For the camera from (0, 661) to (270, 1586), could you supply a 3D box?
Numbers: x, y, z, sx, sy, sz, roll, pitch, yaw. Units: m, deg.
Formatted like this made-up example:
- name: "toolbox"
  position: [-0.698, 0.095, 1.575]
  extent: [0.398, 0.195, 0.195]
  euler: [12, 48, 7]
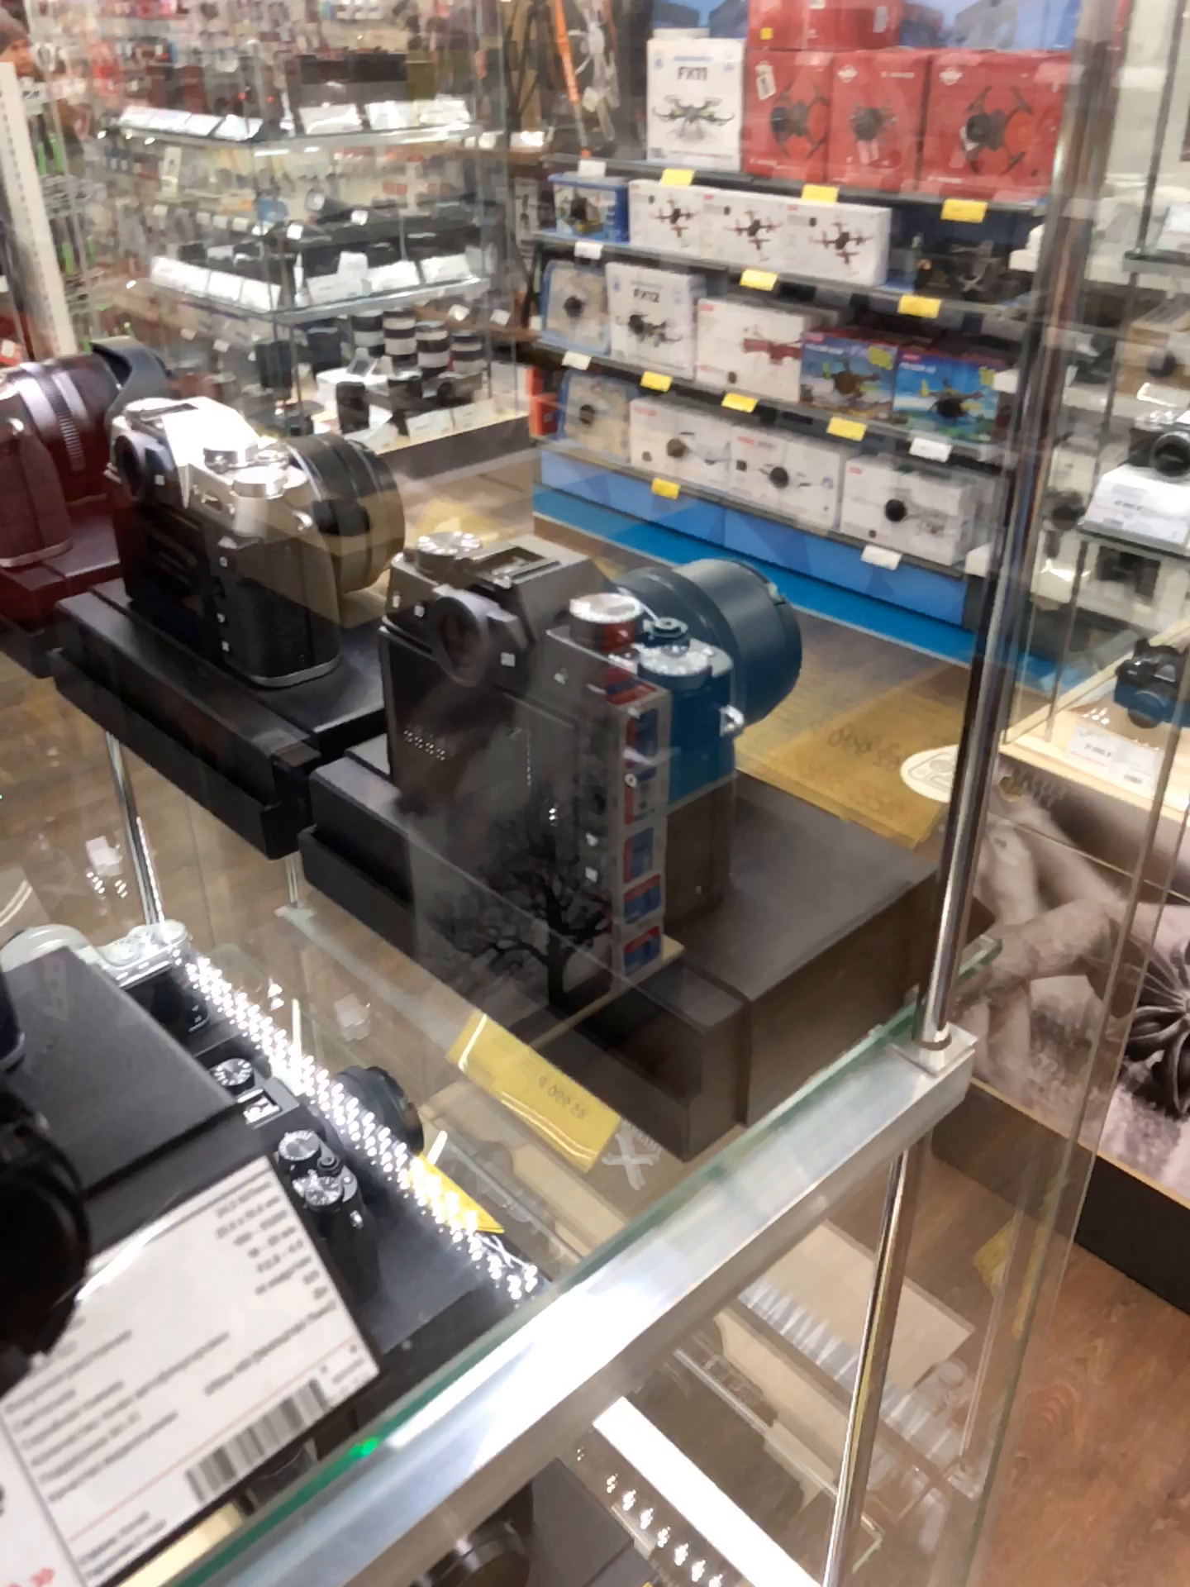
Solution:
- name: "camera"
  position: [-0.144, 0.053, 0.225]
  extent: [0.114, 0.089, 0.120]
  euler: [-27, 40, -37]

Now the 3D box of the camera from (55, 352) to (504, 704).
- name: "camera"
  position: [-0.113, -0.104, 0.480]
  extent: [0.109, 0.078, 0.114]
  euler: [-26, 39, -35]

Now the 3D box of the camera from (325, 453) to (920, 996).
- name: "camera"
  position: [0.008, -0.029, 0.370]
  extent: [0.114, 0.089, 0.110]
  euler: [26, 40, 37]
